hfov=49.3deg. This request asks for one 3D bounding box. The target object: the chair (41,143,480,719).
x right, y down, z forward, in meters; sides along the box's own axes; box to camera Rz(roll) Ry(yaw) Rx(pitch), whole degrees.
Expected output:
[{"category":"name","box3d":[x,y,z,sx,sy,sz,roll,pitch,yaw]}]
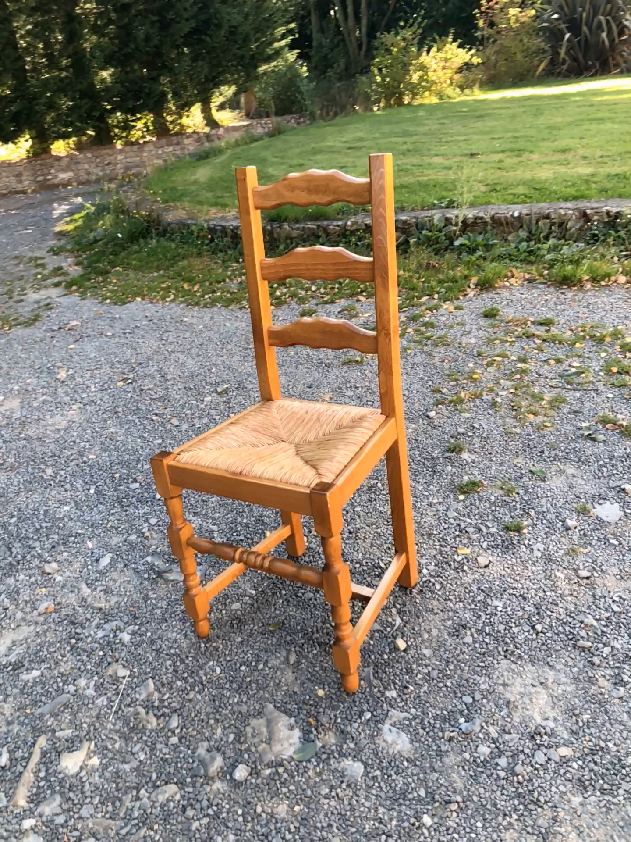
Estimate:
[{"category":"chair","box3d":[-0.032,-0.022,1.353,0.530,0.886,0.523,7,28,31]}]
